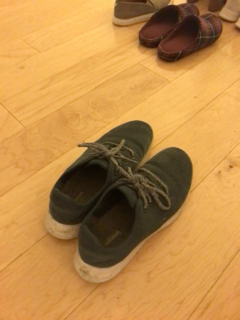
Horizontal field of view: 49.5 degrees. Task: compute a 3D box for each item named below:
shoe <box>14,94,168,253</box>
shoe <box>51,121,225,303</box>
[{"bbox_3d":[-0.035,0.010,0.512,0.100,0.099,0.311,31,58,21],"label":"shoe"},{"bbox_3d":[0.046,0.073,0.461,0.100,0.099,0.321,36,60,24],"label":"shoe"}]
